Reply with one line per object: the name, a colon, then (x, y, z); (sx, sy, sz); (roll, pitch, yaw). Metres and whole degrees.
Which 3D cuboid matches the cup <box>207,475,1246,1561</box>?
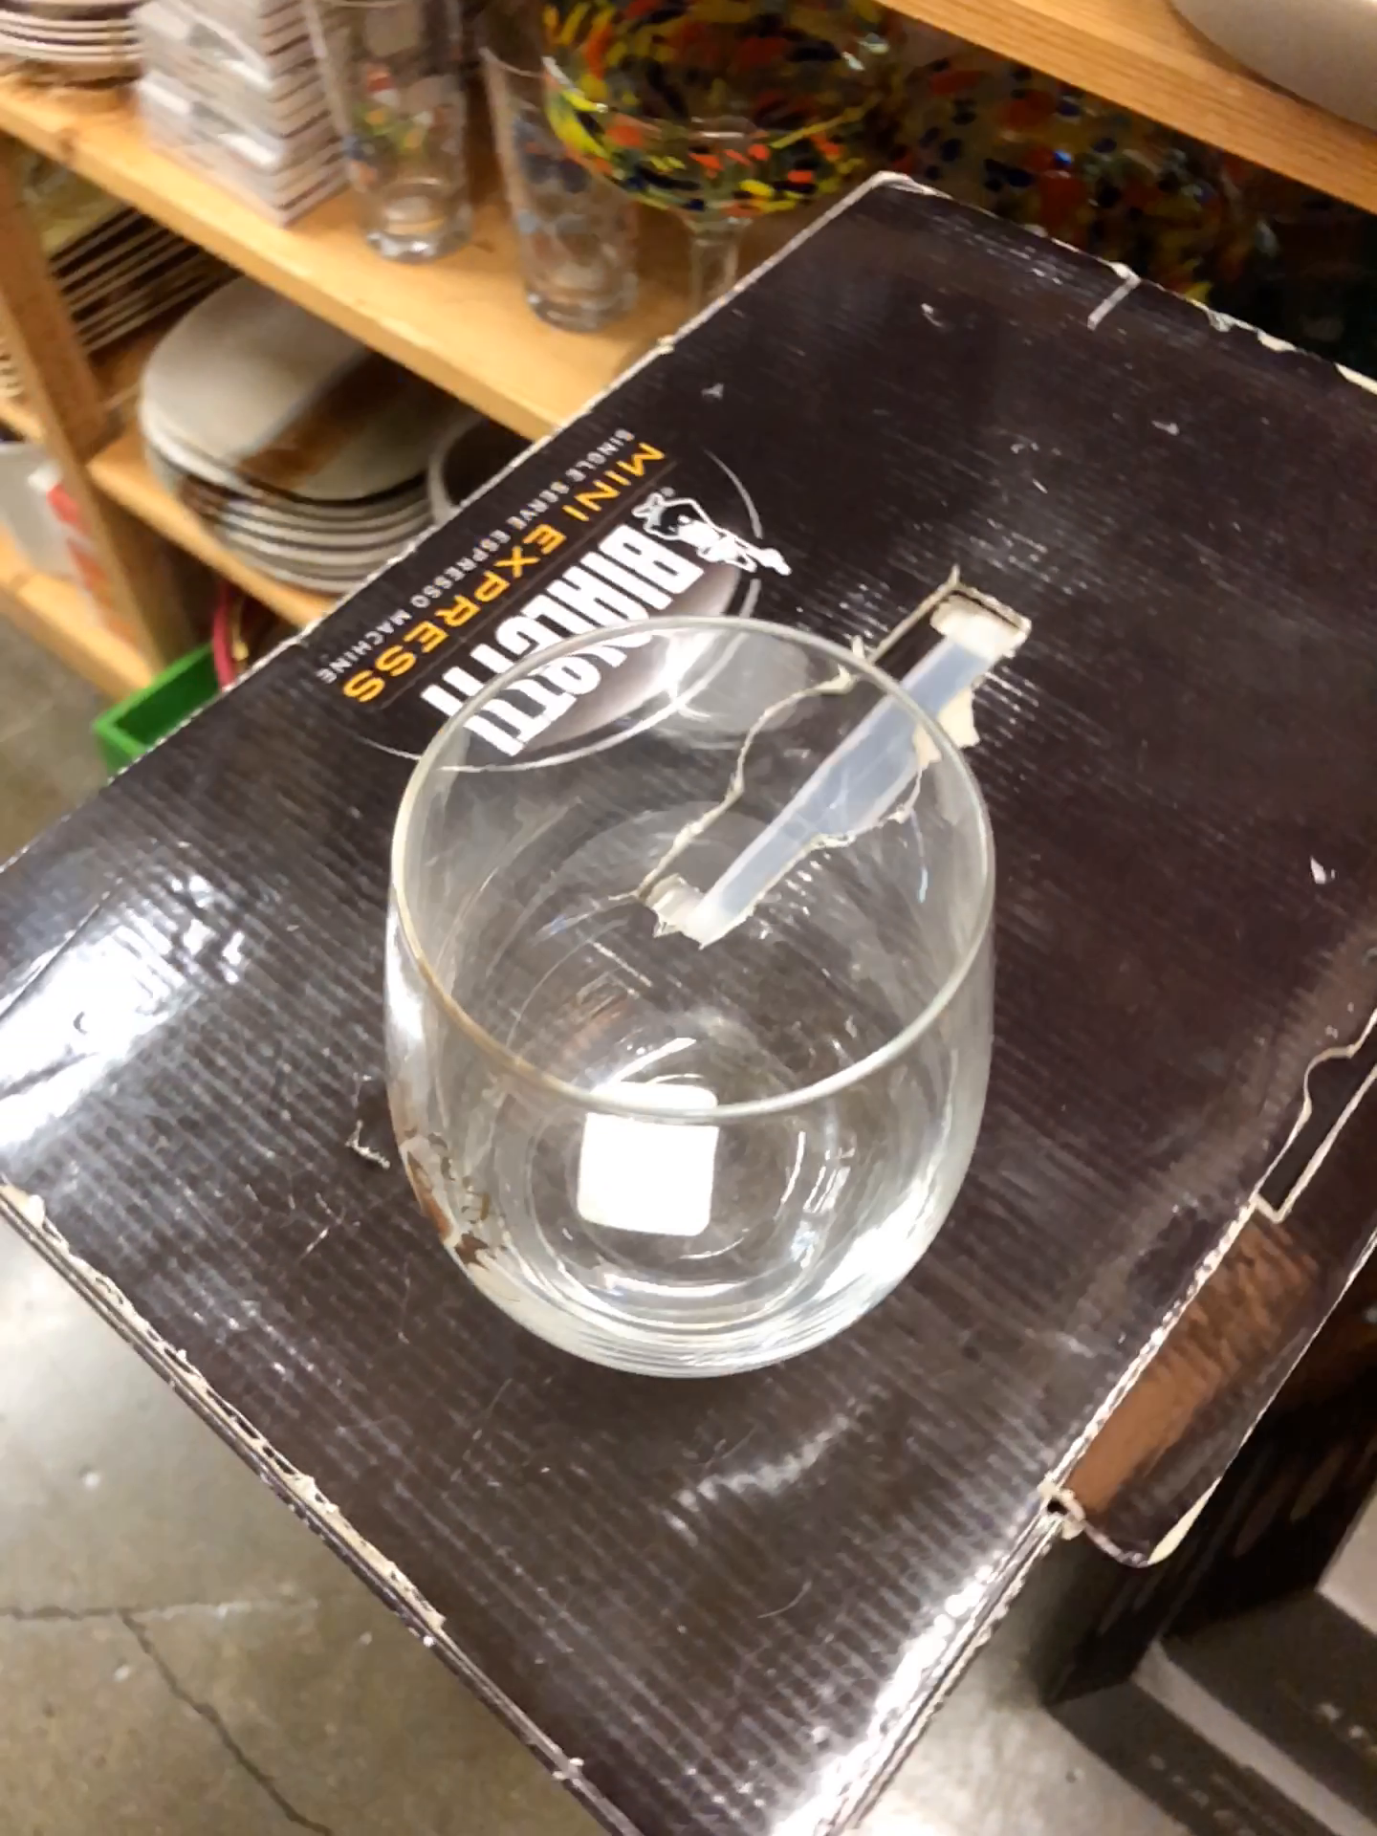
cup: (0.000, 0.021, 0.231); (0.090, 0.114, 0.096); (0, 60, 0)
